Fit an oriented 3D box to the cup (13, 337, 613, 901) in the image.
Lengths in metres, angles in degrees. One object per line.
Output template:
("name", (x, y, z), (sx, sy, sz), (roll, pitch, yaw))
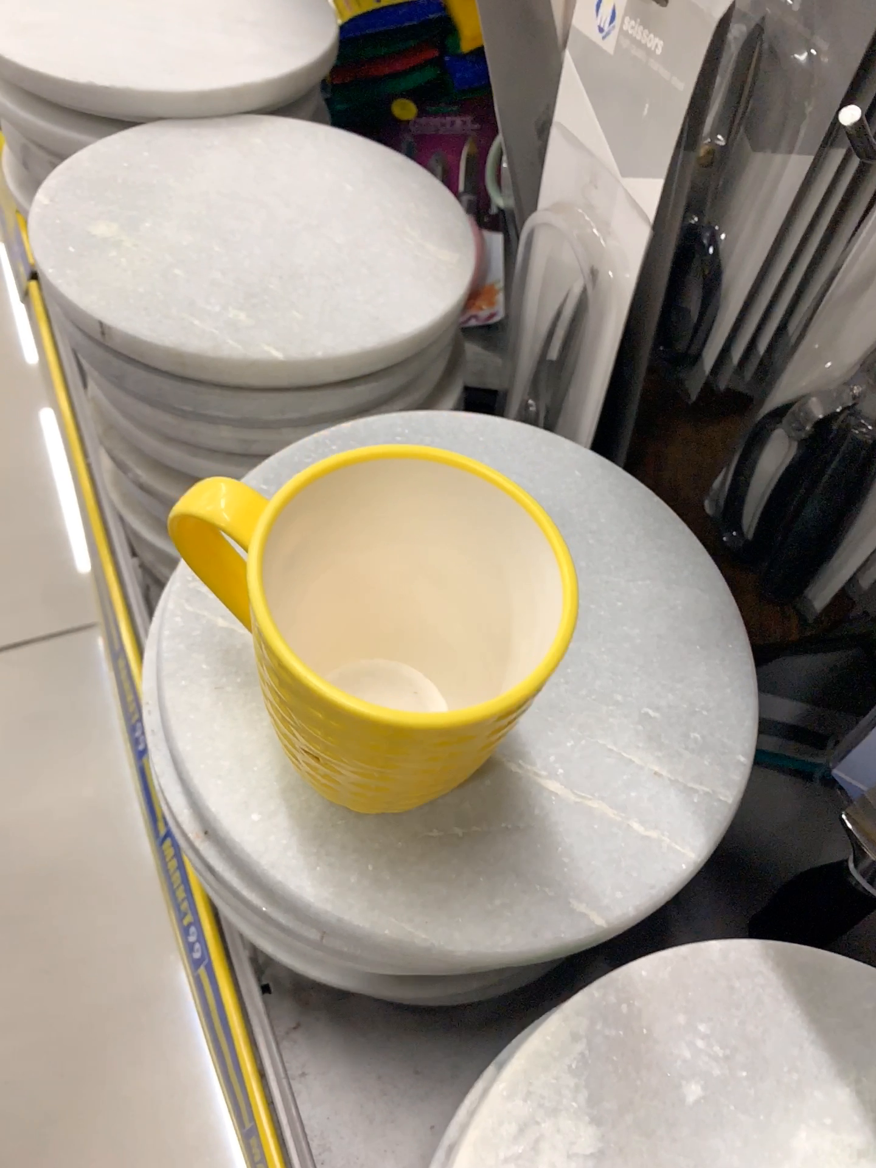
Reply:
("cup", (-0.031, 0.011, 0.261), (0.120, 0.090, 0.090), (23, 54, 6))
